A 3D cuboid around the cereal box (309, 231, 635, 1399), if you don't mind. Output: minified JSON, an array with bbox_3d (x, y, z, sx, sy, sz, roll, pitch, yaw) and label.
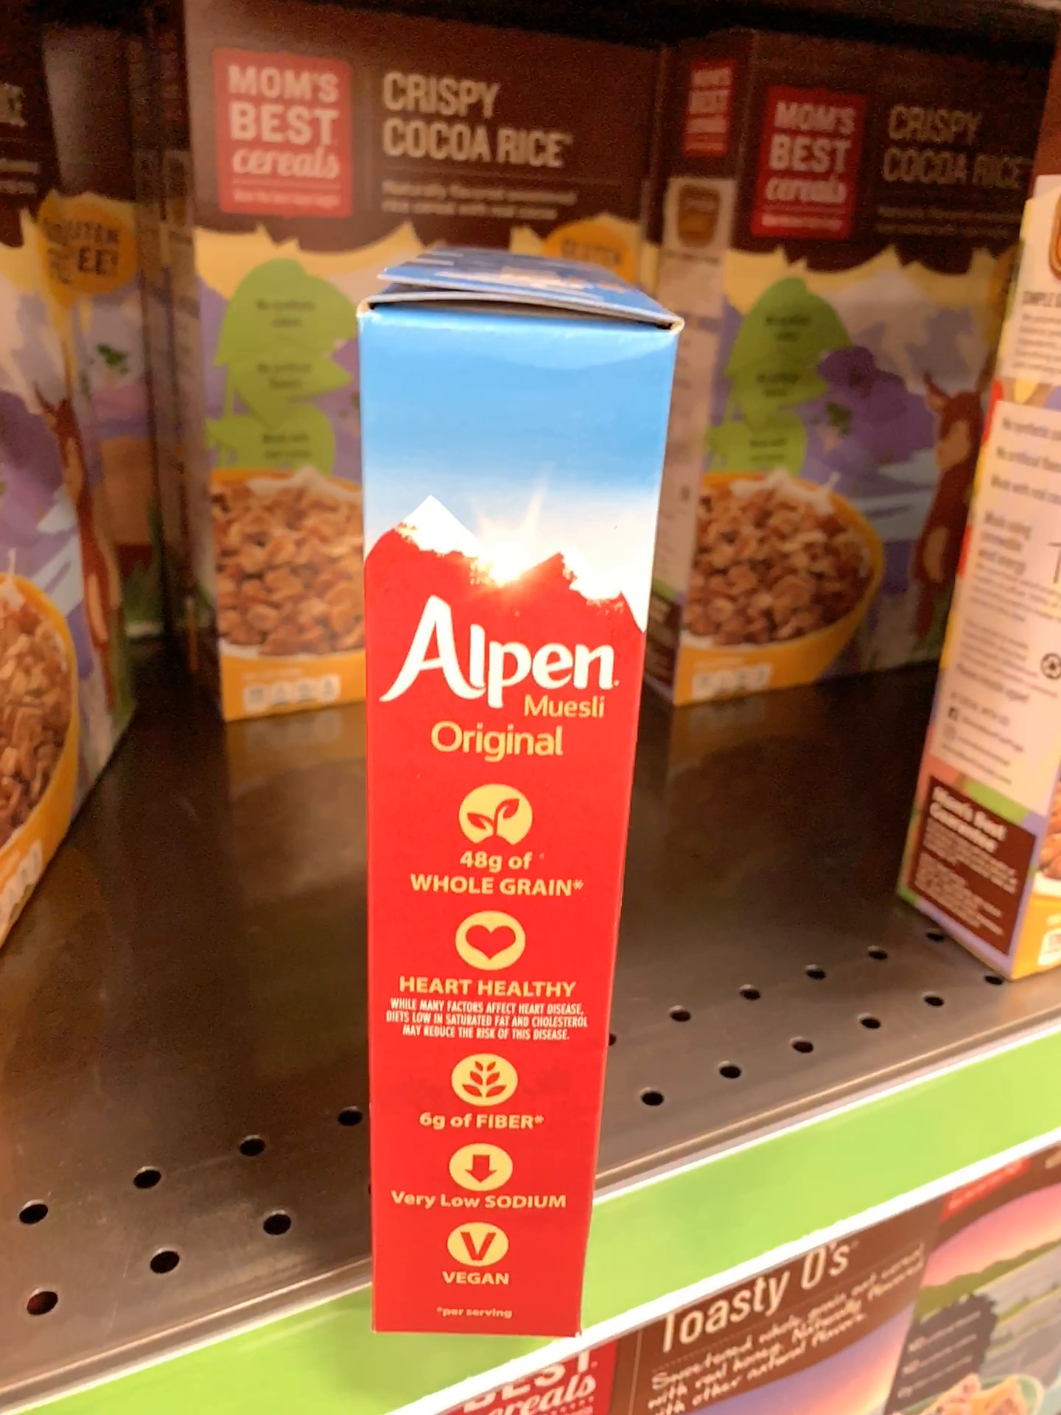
[{"bbox_3d":[-0.012,0.008,0.252,0.040,0.209,0.161,2,24,-1],"label":"cereal box"}]
